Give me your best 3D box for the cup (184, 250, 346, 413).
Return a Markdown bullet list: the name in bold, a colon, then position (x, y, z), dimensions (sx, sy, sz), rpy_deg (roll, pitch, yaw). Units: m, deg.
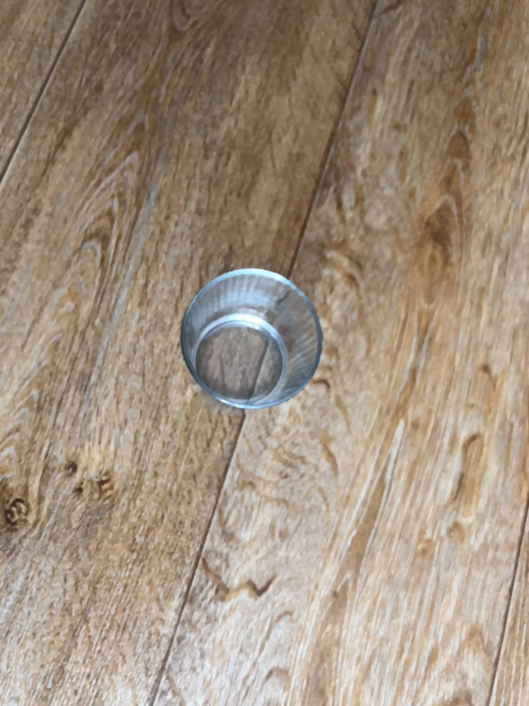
- **cup**: position (-0.005, -0.009, 0.338), dimensions (0.078, 0.080, 0.075), rpy_deg (2, 78, -8)
